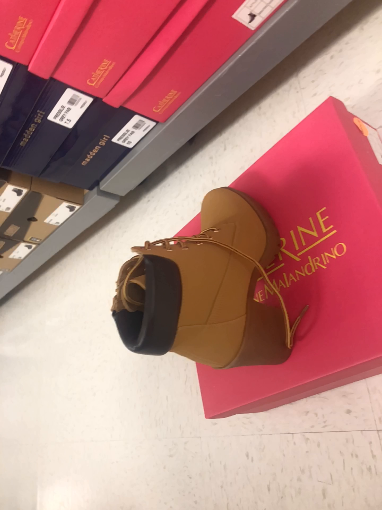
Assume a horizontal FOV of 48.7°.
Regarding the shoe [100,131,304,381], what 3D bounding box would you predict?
[{"bbox_3d":[0.005,0.010,0.438,0.085,0.169,0.217,-35,53,44],"label":"shoe"}]
